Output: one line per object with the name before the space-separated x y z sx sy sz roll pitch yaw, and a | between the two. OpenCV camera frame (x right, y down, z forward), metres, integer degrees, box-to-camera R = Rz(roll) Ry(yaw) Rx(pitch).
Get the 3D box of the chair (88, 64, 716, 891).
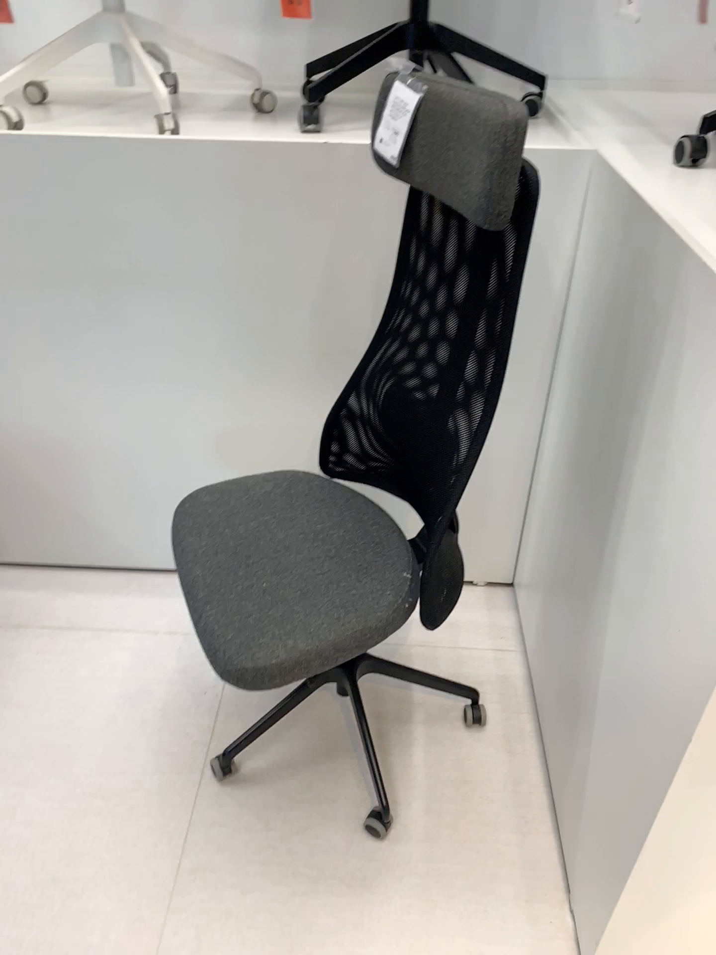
chair | -0.014 0.016 1.329 0.670 1.265 0.663 -9 37 -14
